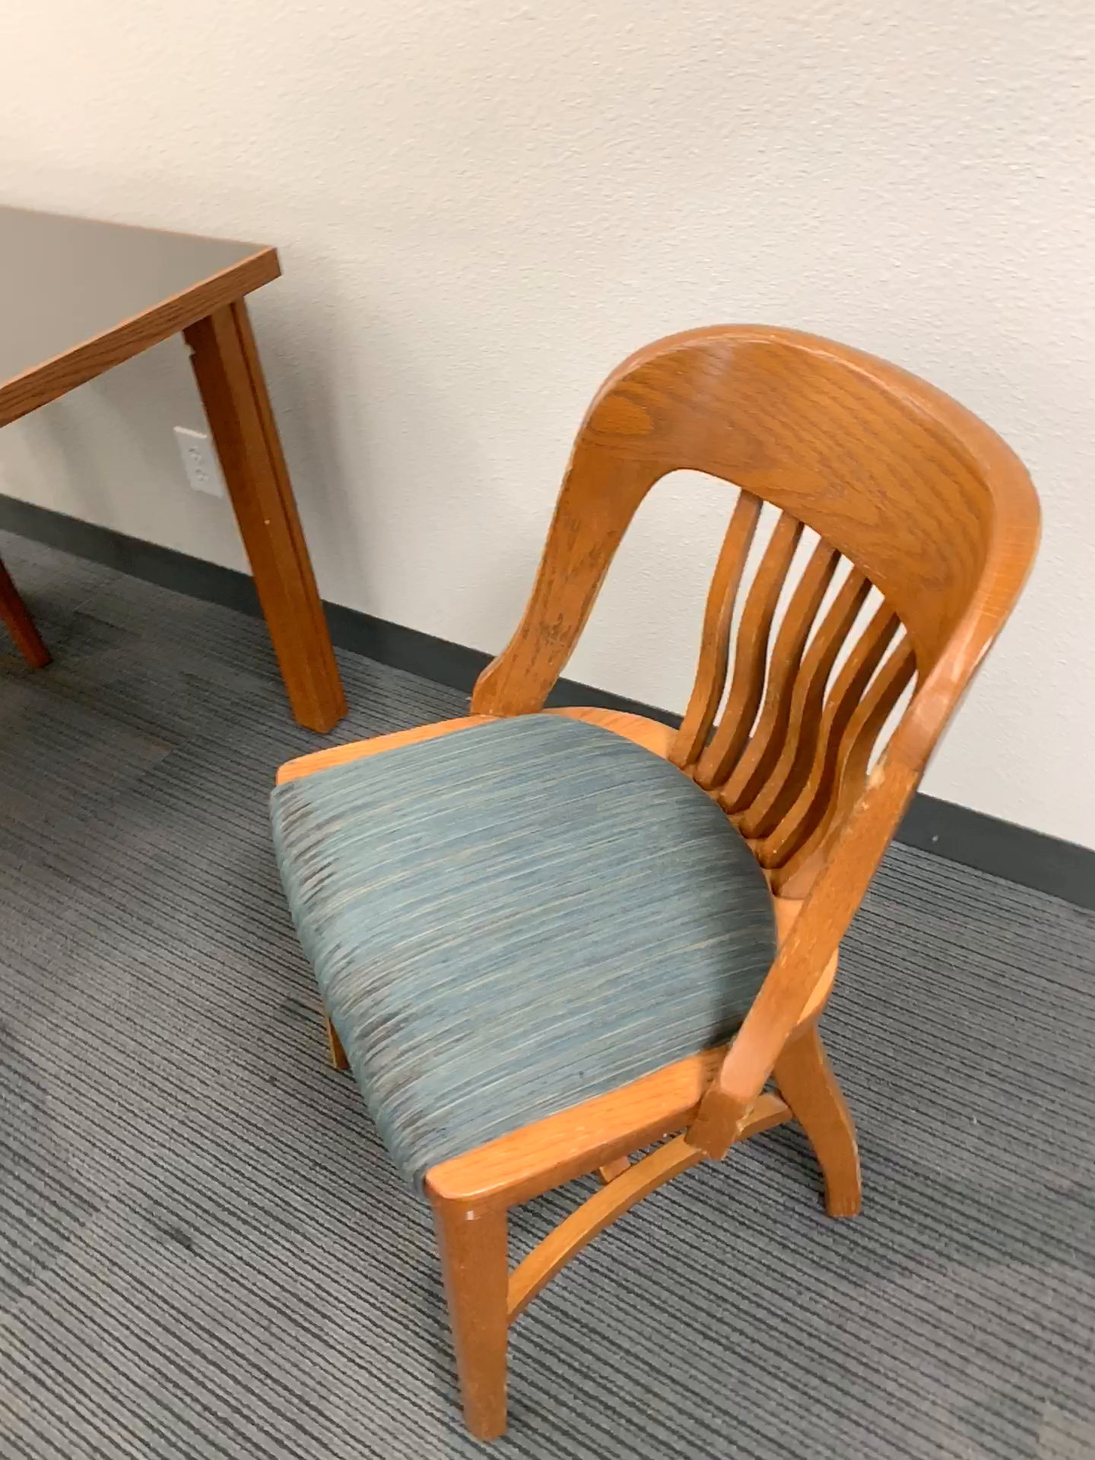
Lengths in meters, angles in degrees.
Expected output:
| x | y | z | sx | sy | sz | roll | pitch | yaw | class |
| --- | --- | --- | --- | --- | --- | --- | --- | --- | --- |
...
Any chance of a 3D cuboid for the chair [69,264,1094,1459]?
| x | y | z | sx | sy | sz | roll | pitch | yaw | class |
| --- | --- | --- | --- | --- | --- | --- | --- | --- | --- |
| 0.052 | 0.113 | 0.992 | 0.620 | 0.747 | 0.552 | -19 | 44 | -16 | chair |
